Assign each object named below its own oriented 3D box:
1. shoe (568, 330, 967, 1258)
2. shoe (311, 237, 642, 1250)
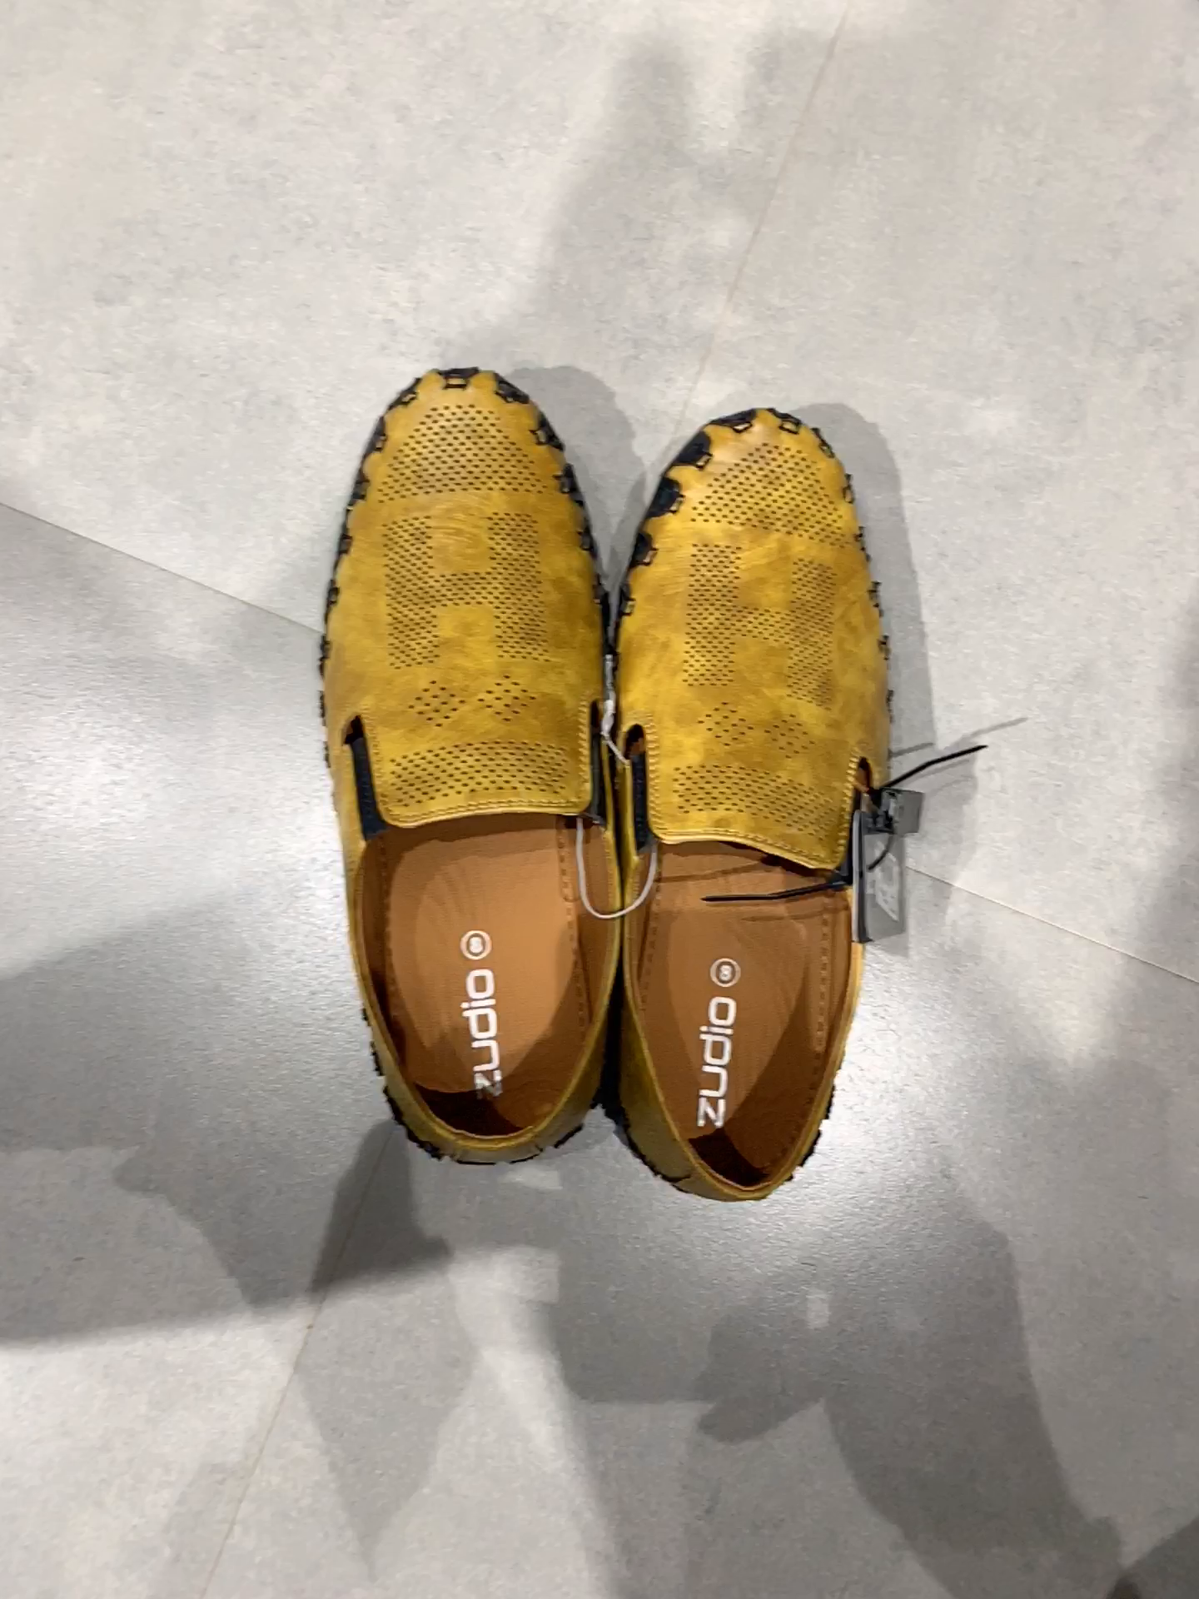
[{"bbox_3d":[0.055,-0.002,0.432,0.110,0.080,0.290,4,85,-3],"label":"shoe"},{"bbox_3d":[-0.043,-0.019,0.447,0.100,0.120,0.320,-1,85,-3],"label":"shoe"}]
